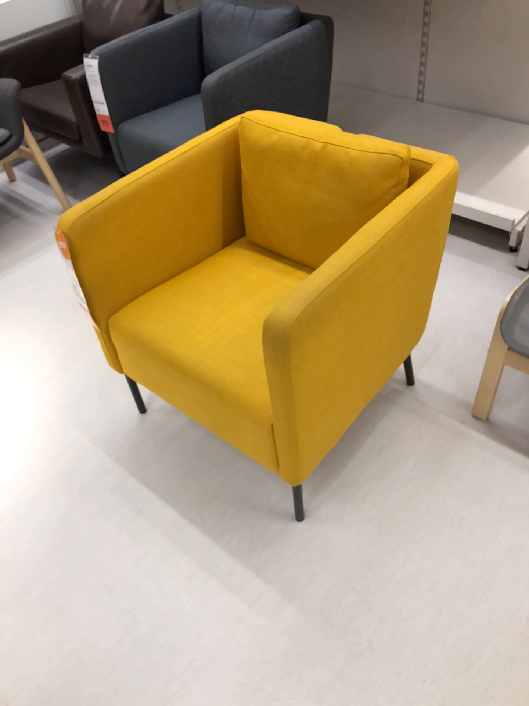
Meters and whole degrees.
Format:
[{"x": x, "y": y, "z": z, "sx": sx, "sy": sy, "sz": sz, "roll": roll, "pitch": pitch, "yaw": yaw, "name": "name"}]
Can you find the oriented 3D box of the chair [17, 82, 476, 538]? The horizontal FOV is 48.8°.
[{"x": -0.013, "y": -0.153, "z": 1.472, "sx": 0.723, "sy": 0.696, "sz": 0.662, "roll": 28, "pitch": 54, "yaw": 31, "name": "chair"}]
